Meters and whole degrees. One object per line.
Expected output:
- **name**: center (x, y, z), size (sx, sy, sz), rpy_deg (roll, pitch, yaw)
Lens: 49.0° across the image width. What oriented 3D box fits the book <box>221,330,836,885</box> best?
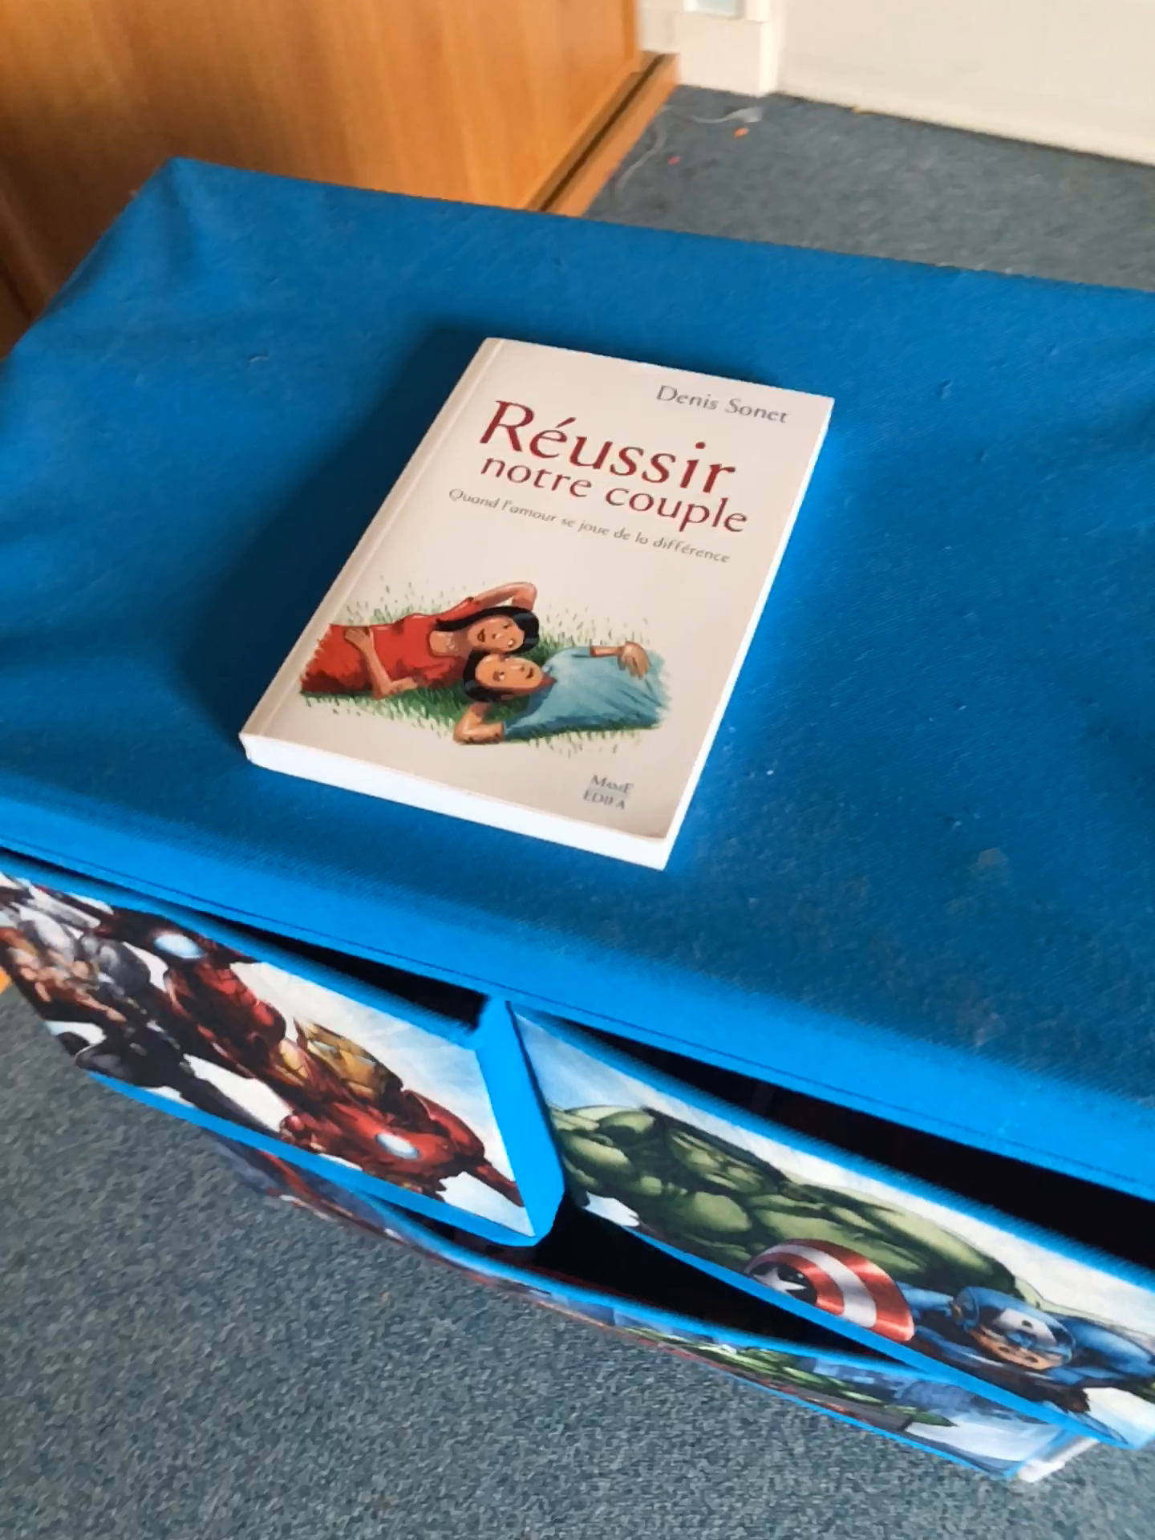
- **book**: center (-0.007, -0.064, 0.400), size (0.134, 0.016, 0.187), rpy_deg (15, 59, 14)
